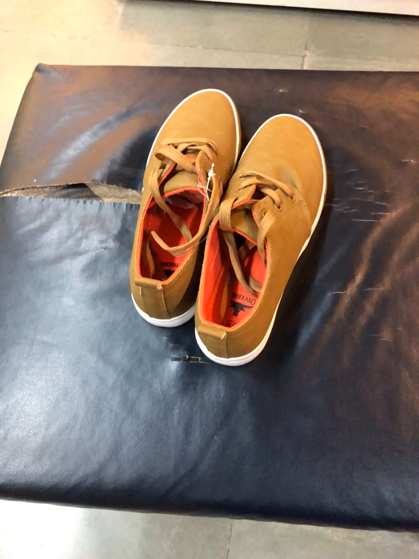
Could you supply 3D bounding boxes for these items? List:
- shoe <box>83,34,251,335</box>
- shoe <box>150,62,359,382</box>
[{"bbox_3d":[-0.024,-0.095,0.435,0.100,0.097,0.267,5,64,6],"label":"shoe"},{"bbox_3d":[0.048,-0.058,0.411,0.095,0.091,0.261,16,66,11],"label":"shoe"}]
